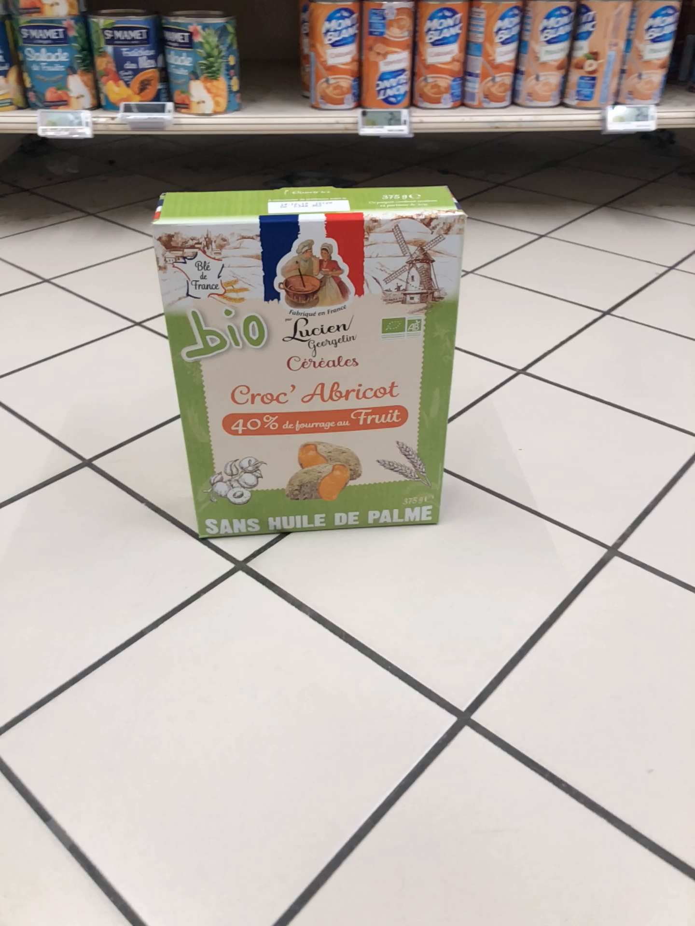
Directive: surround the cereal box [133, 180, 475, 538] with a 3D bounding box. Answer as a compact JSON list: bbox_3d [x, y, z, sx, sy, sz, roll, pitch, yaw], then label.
[{"bbox_3d":[-0.028,-0.067,0.542,0.200,0.239,0.070,-3,34,-5],"label":"cereal box"}]
